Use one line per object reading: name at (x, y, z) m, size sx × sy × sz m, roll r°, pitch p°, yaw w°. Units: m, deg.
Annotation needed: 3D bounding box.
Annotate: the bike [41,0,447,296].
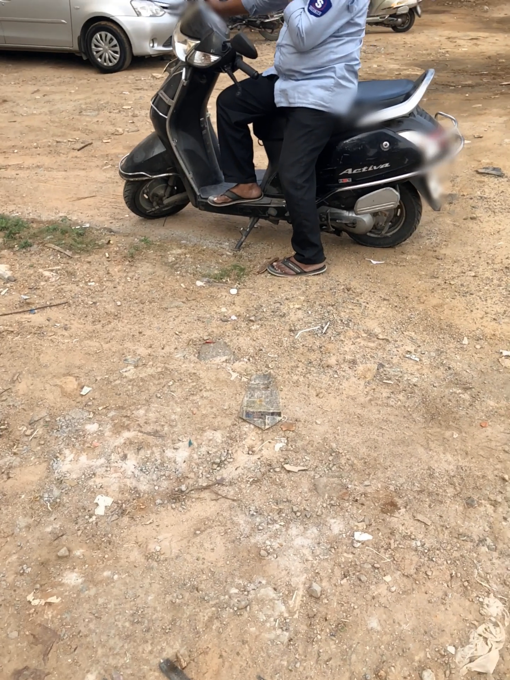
bike at (-0.011, -0.885, 2.548) m, size 1.522 × 1.102 × 0.578 m, roll 7°, pitch 36°, yaw 19°
